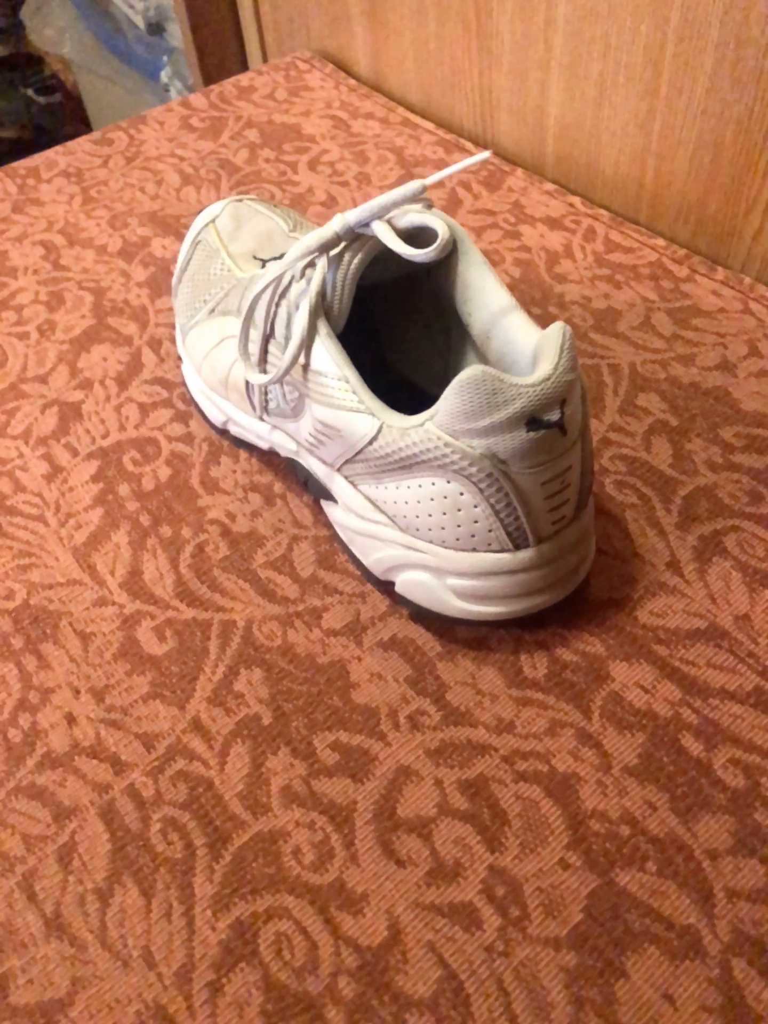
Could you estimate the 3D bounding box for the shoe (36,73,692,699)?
[{"bbox_3d":[-0.029,-0.077,0.357,0.100,0.100,0.291,-31,52,-20],"label":"shoe"}]
